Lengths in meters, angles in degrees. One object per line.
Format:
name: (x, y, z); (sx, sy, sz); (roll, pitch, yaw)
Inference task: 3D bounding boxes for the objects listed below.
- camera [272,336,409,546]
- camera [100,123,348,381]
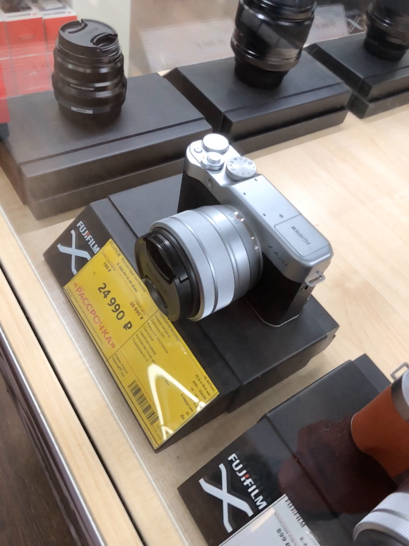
camera: (0.112, 0.114, 0.201); (0.088, 0.073, 0.128); (-22, 59, -27)
camera: (0.003, -0.019, 0.279); (0.088, 0.073, 0.120); (-22, 59, -27)
